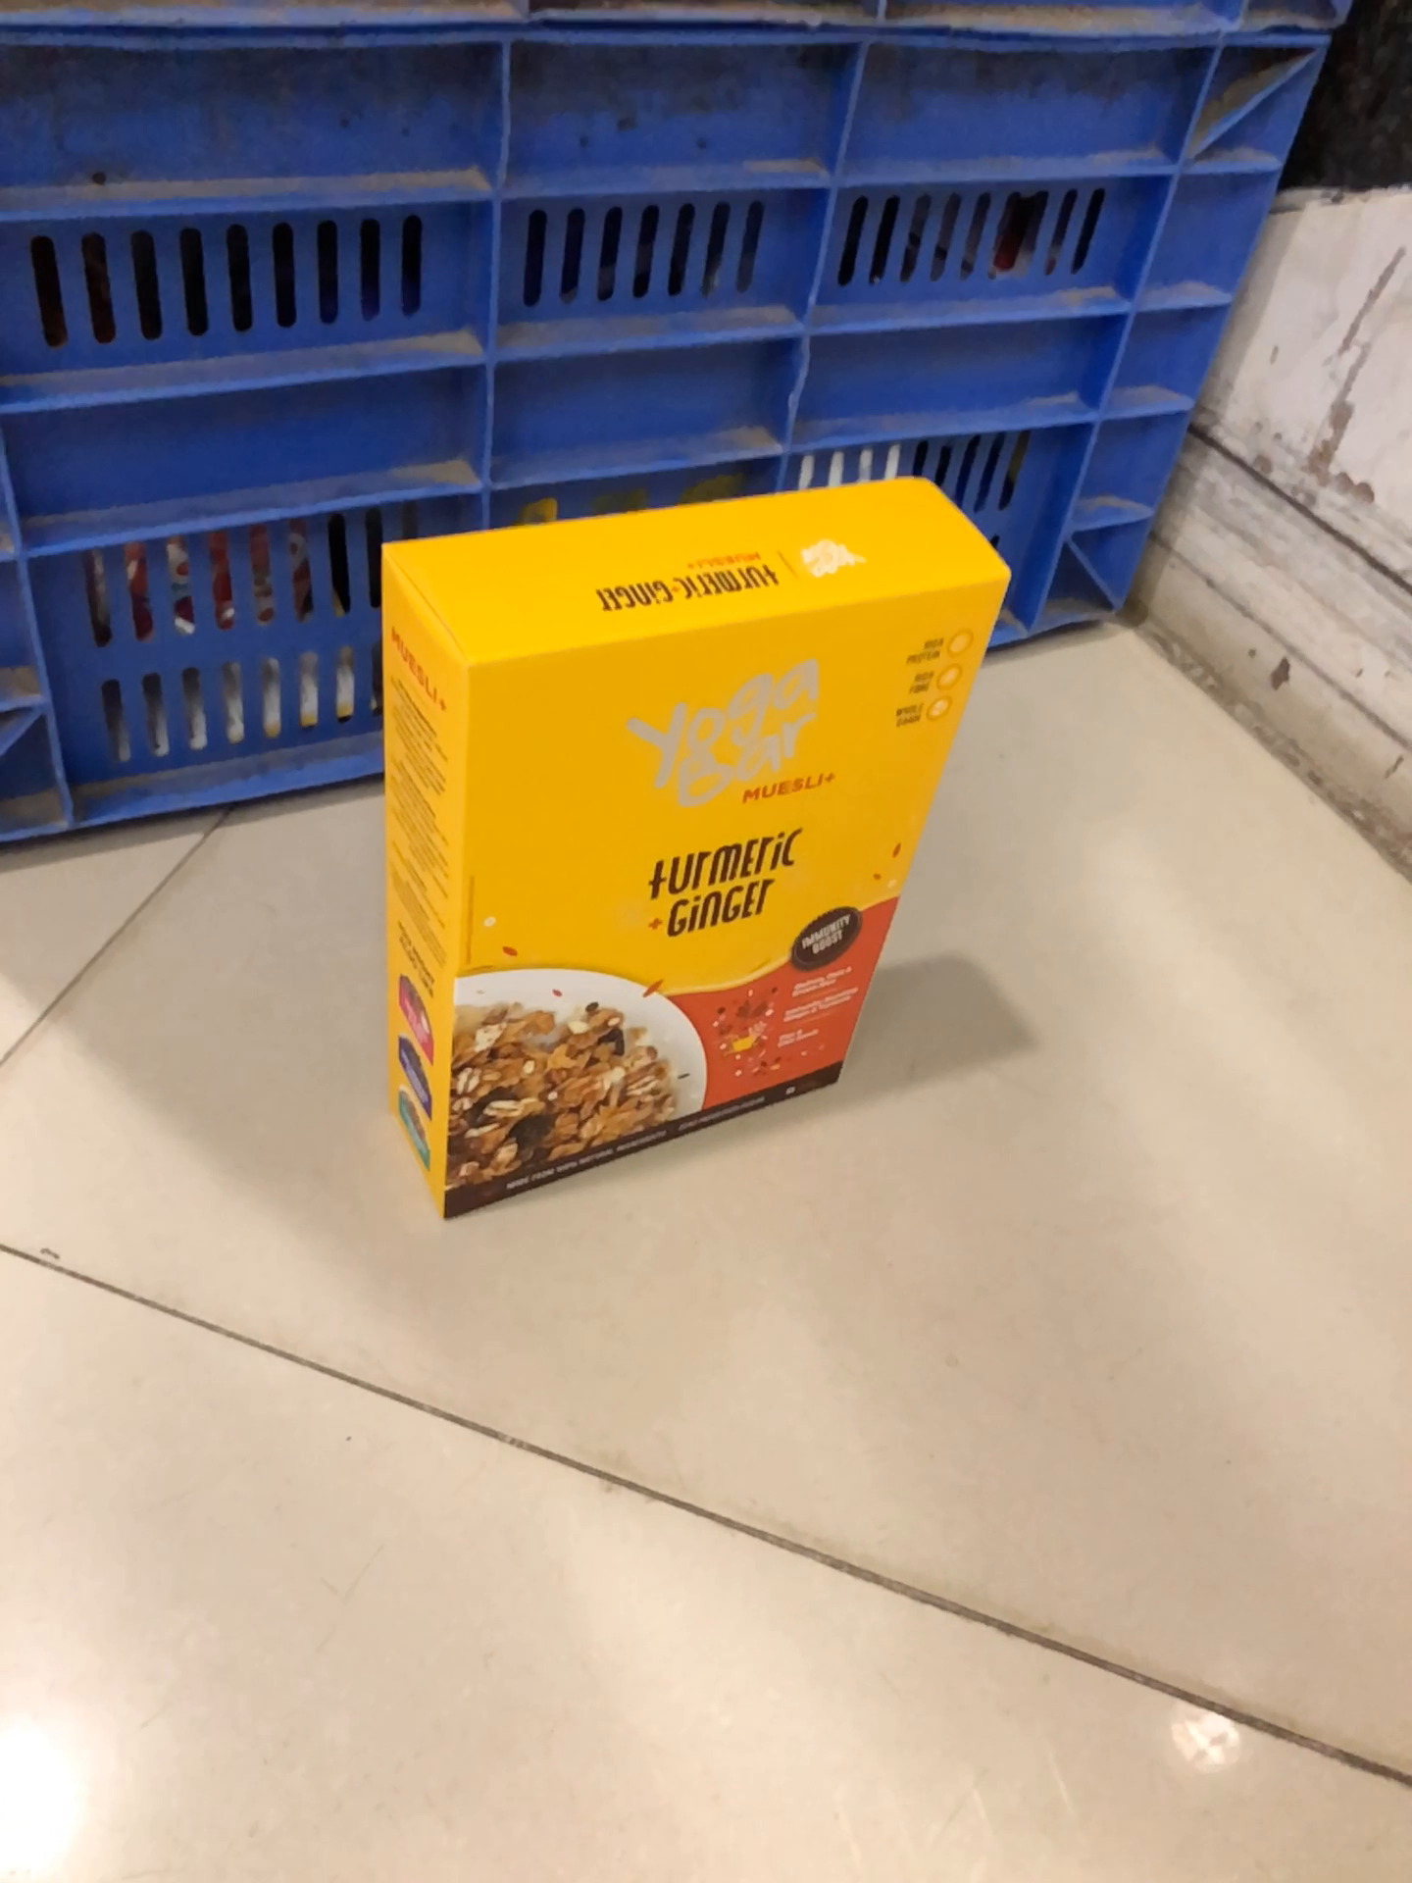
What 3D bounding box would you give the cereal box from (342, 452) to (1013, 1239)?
[{"bbox_3d":[-0.019,-0.024,0.493,0.171,0.228,0.060,-16,49,-25],"label":"cereal box"}]
